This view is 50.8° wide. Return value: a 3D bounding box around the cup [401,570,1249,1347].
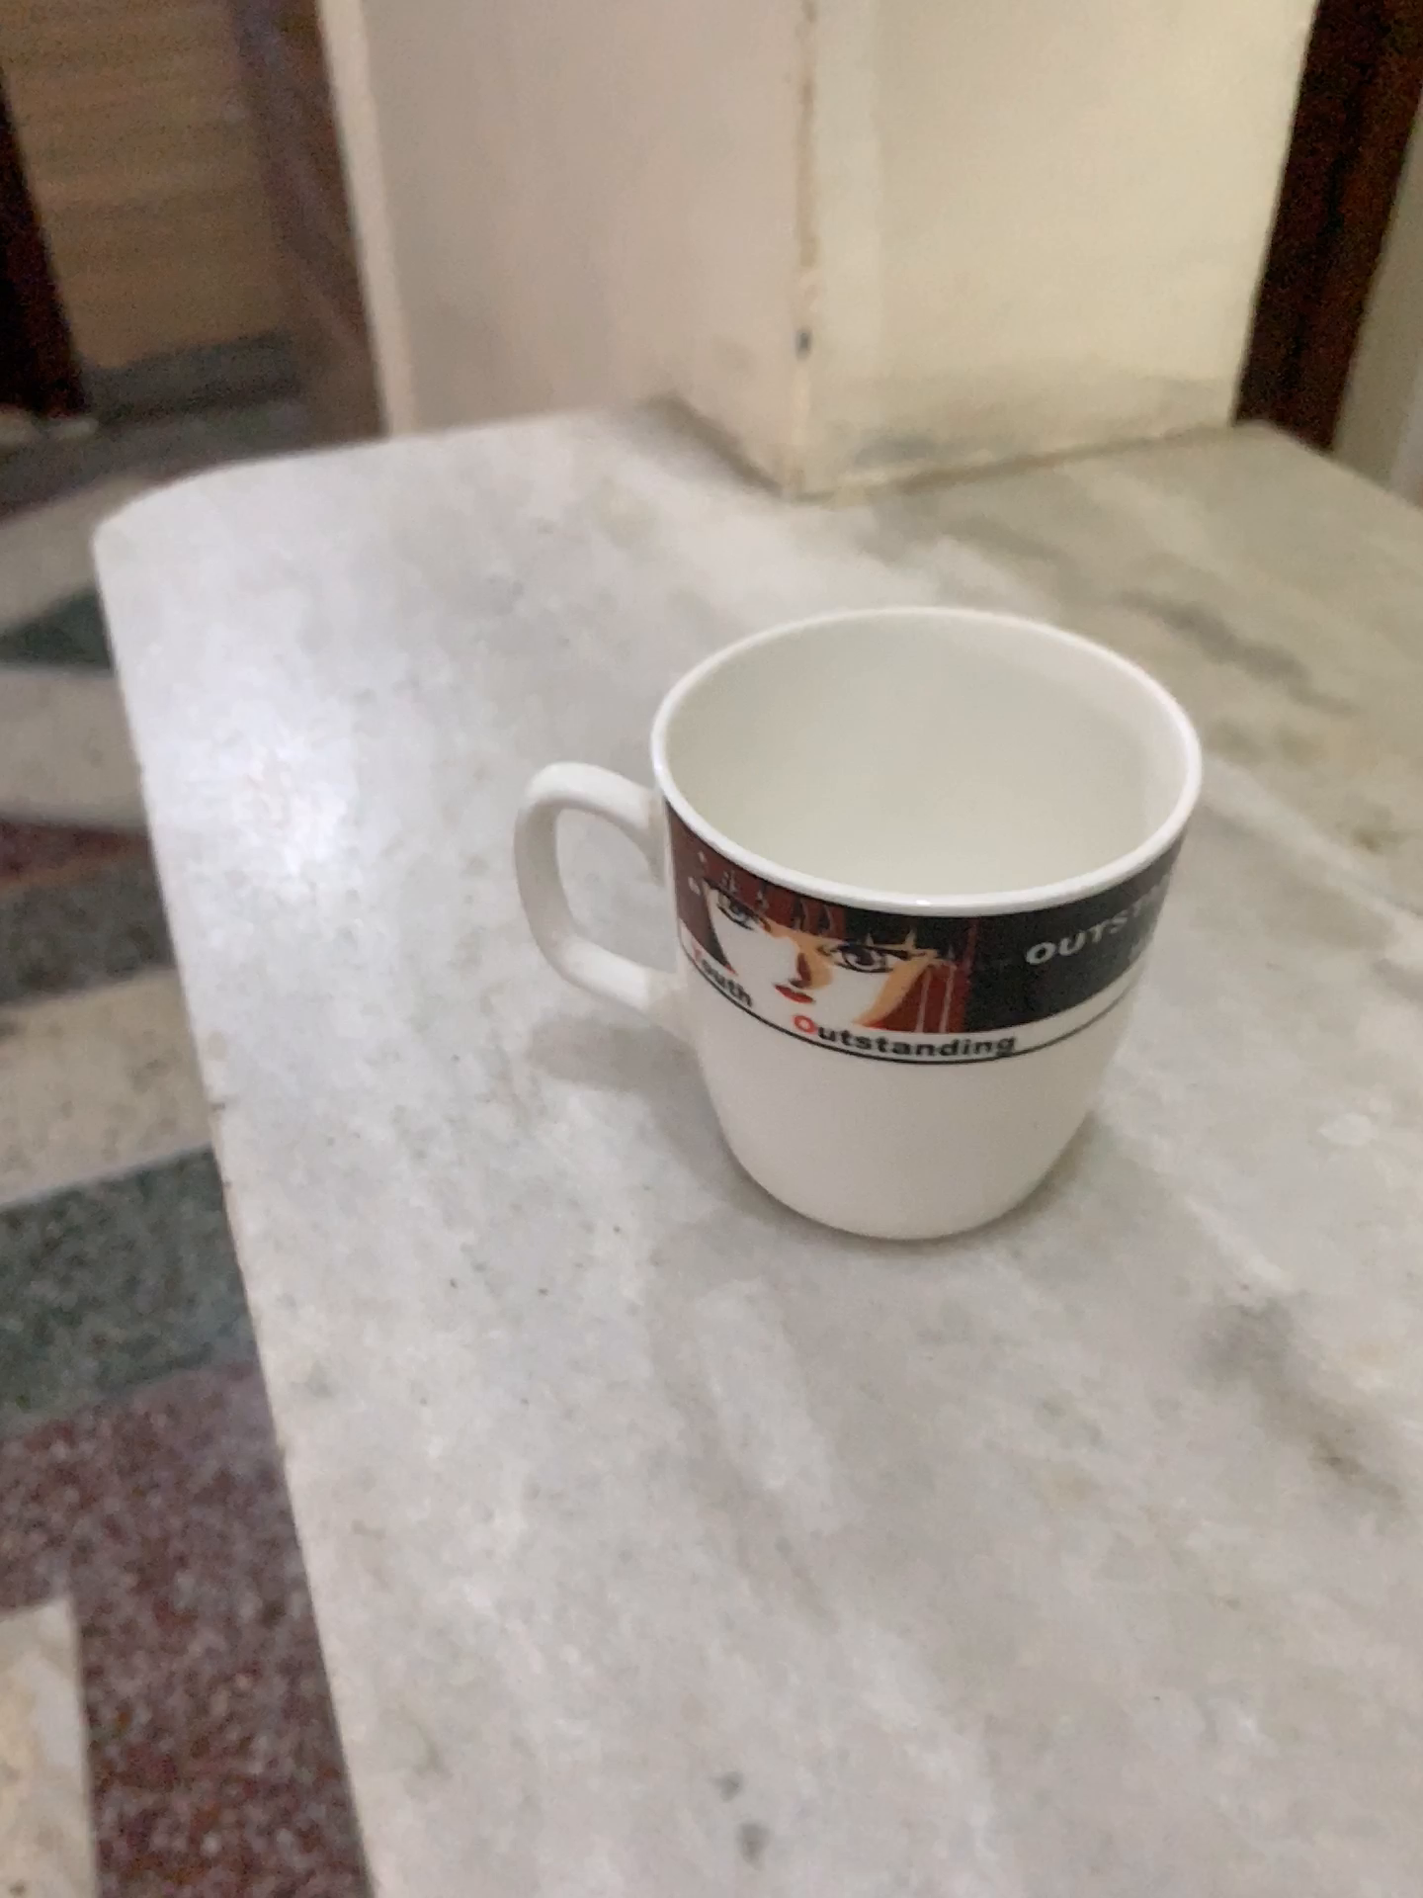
[{"bbox_3d":[0.018,-0.003,0.205,0.090,0.060,0.070,12,42,15],"label":"cup"}]
